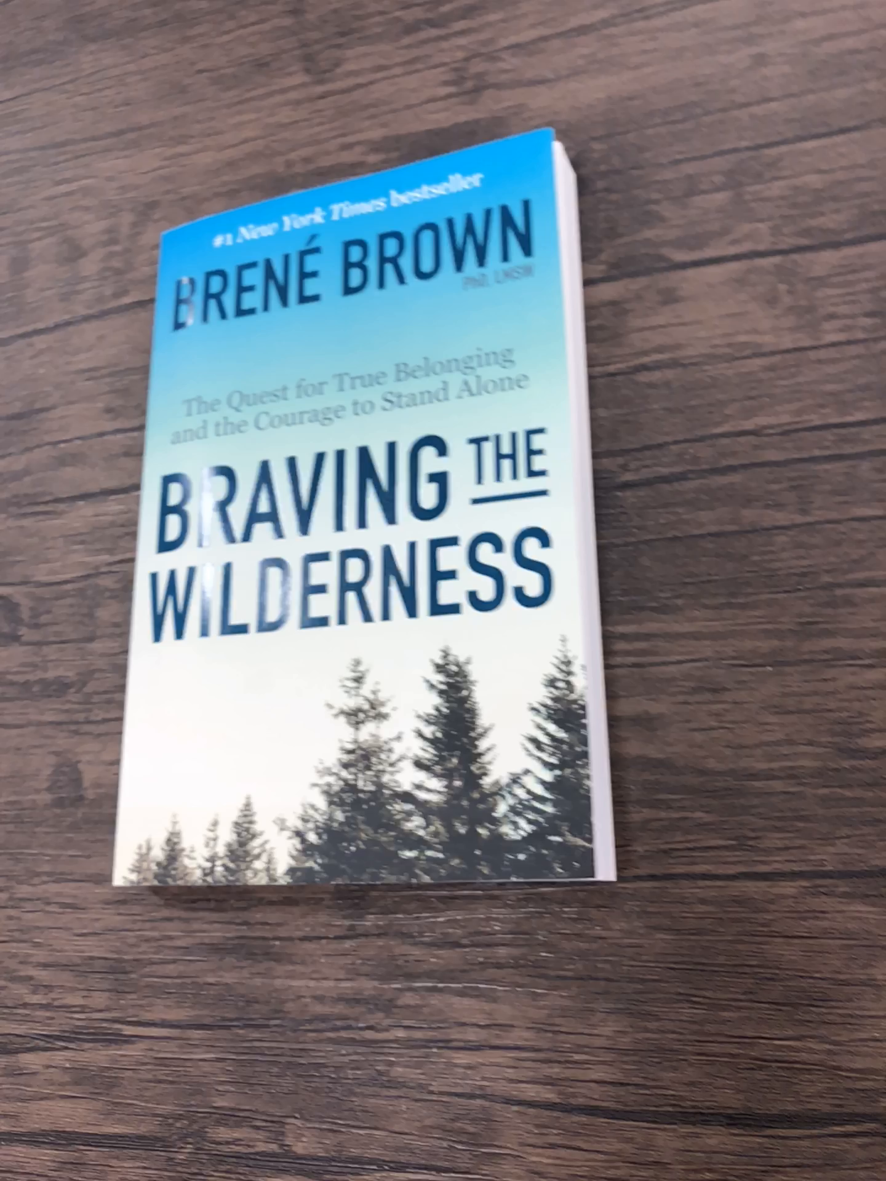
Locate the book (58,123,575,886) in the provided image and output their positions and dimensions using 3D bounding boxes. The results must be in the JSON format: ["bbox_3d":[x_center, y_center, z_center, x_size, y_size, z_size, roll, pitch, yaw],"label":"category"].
[{"bbox_3d":[-0.036,-0.021,0.268,0.130,0.021,0.191,-7,74,19],"label":"book"}]
